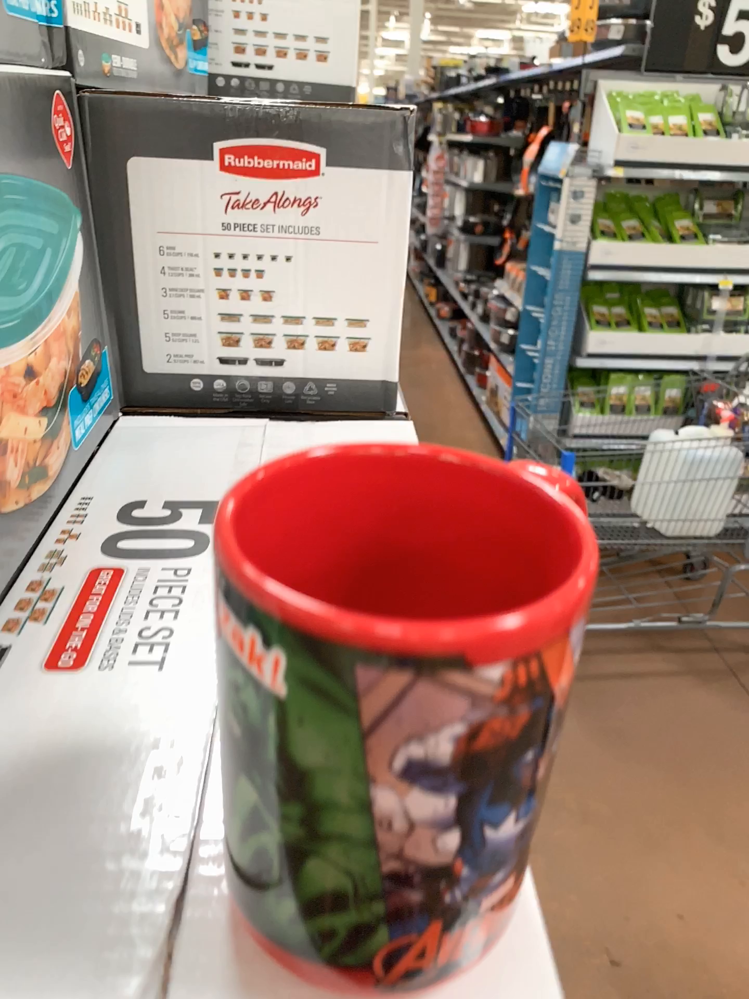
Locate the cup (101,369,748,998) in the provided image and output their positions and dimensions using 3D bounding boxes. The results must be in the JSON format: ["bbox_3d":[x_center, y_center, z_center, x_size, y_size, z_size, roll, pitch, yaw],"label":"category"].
[{"bbox_3d":[0.010,0.045,0.211,0.120,0.114,0.100,-21,40,-39],"label":"cup"}]
